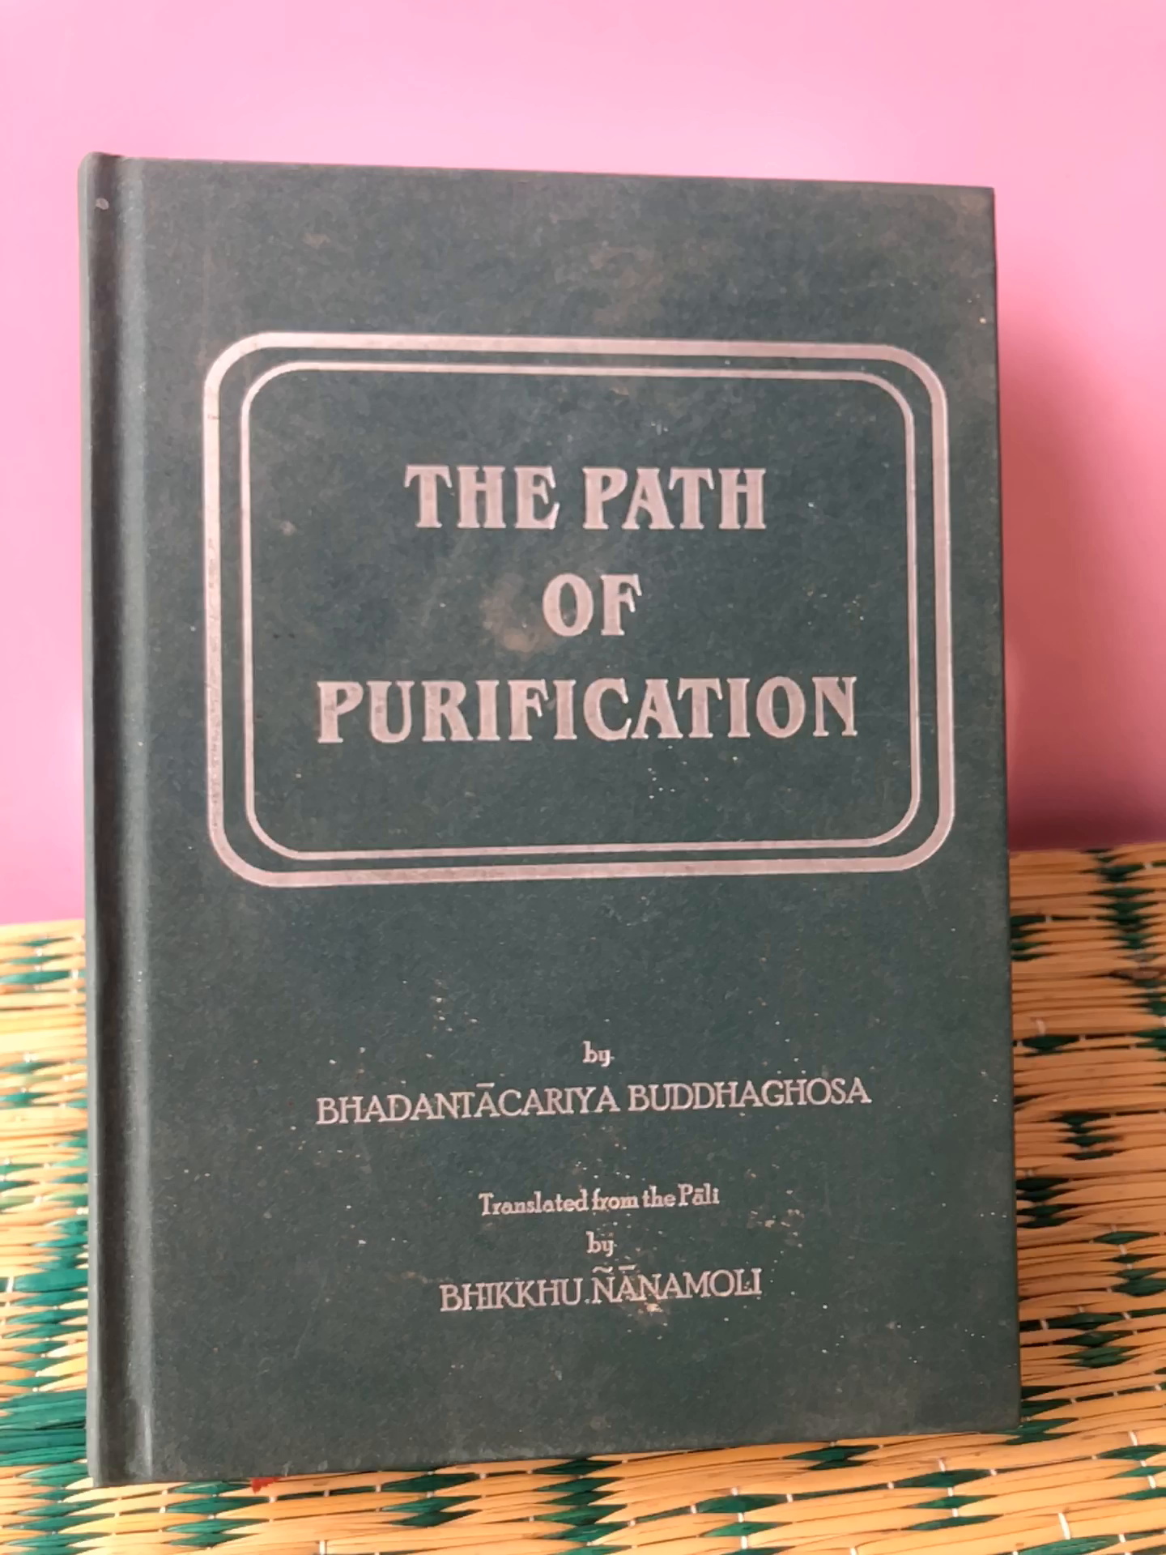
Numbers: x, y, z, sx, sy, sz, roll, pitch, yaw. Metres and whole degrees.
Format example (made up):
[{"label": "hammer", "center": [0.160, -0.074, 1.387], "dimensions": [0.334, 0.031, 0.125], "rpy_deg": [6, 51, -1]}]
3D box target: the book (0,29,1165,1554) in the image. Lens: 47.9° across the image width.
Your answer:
[{"label": "book", "center": [-0.003, -0.002, 0.224], "dimensions": [0.160, 0.080, 0.210], "rpy_deg": [-1, 83, -3]}]
